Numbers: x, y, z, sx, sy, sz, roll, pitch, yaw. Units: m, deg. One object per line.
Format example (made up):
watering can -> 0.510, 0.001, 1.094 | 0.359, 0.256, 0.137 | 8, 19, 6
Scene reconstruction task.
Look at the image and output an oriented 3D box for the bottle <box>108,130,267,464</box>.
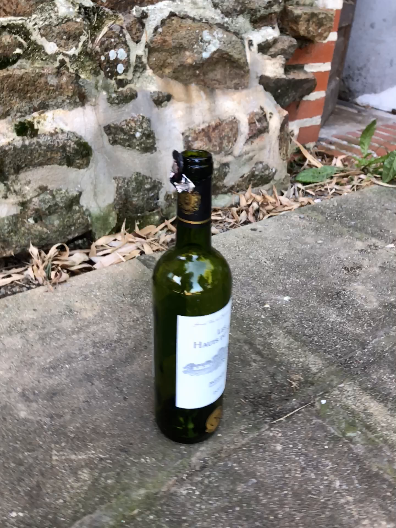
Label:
bottle -> -0.011, 0.038, 0.401 | 0.080, 0.288, 0.091 | 24, 37, 33
